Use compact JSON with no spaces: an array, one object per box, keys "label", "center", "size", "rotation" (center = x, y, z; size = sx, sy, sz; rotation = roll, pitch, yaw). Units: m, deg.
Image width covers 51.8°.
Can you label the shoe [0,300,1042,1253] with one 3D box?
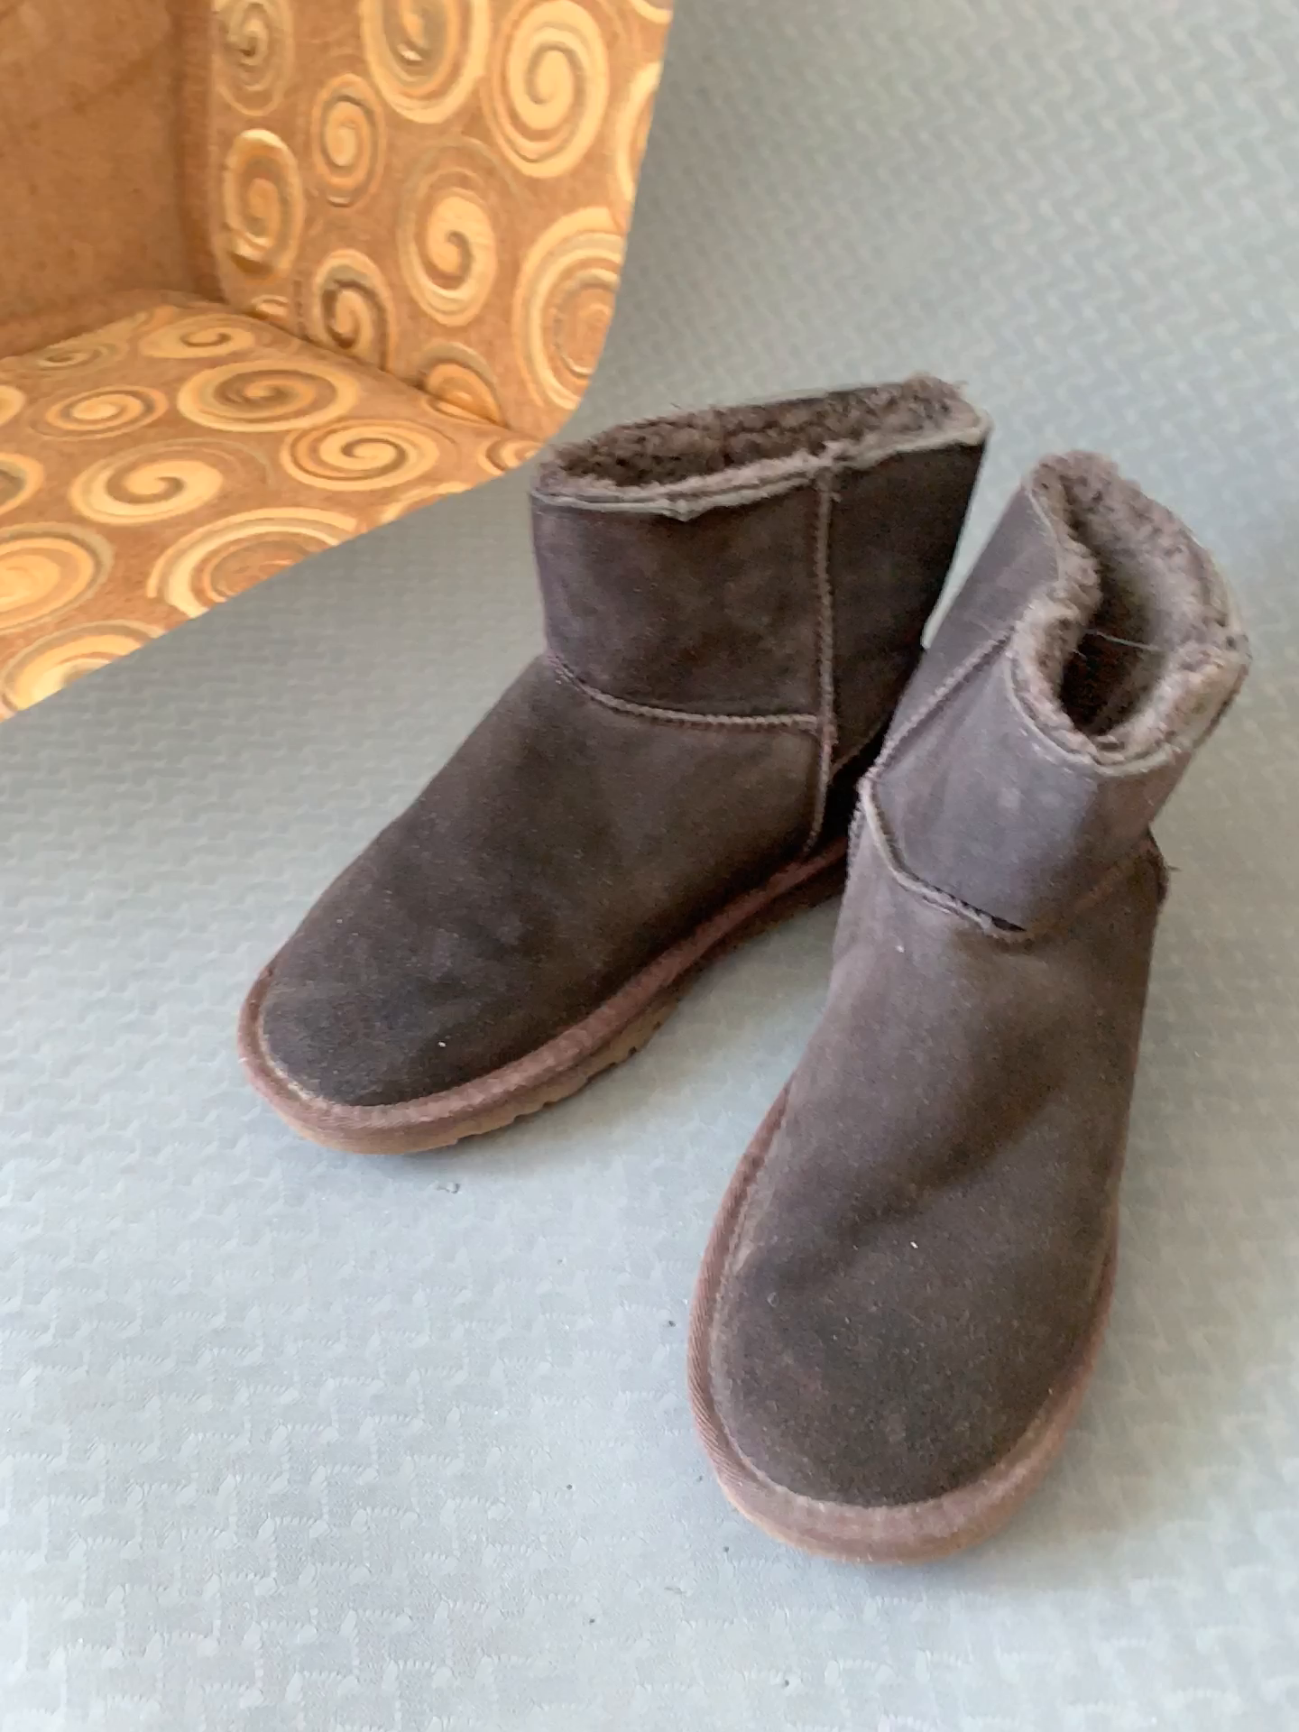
[{"label":"shoe","center":[-0.020,-0.036,0.383],"size":[0.253,0.139,0.100],"rotation":[-34,55,-25]}]

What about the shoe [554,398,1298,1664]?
[{"label":"shoe","center":[0.078,0.021,0.323],"size":[0.100,0.139,0.254],"rotation":[14,50,15]}]
